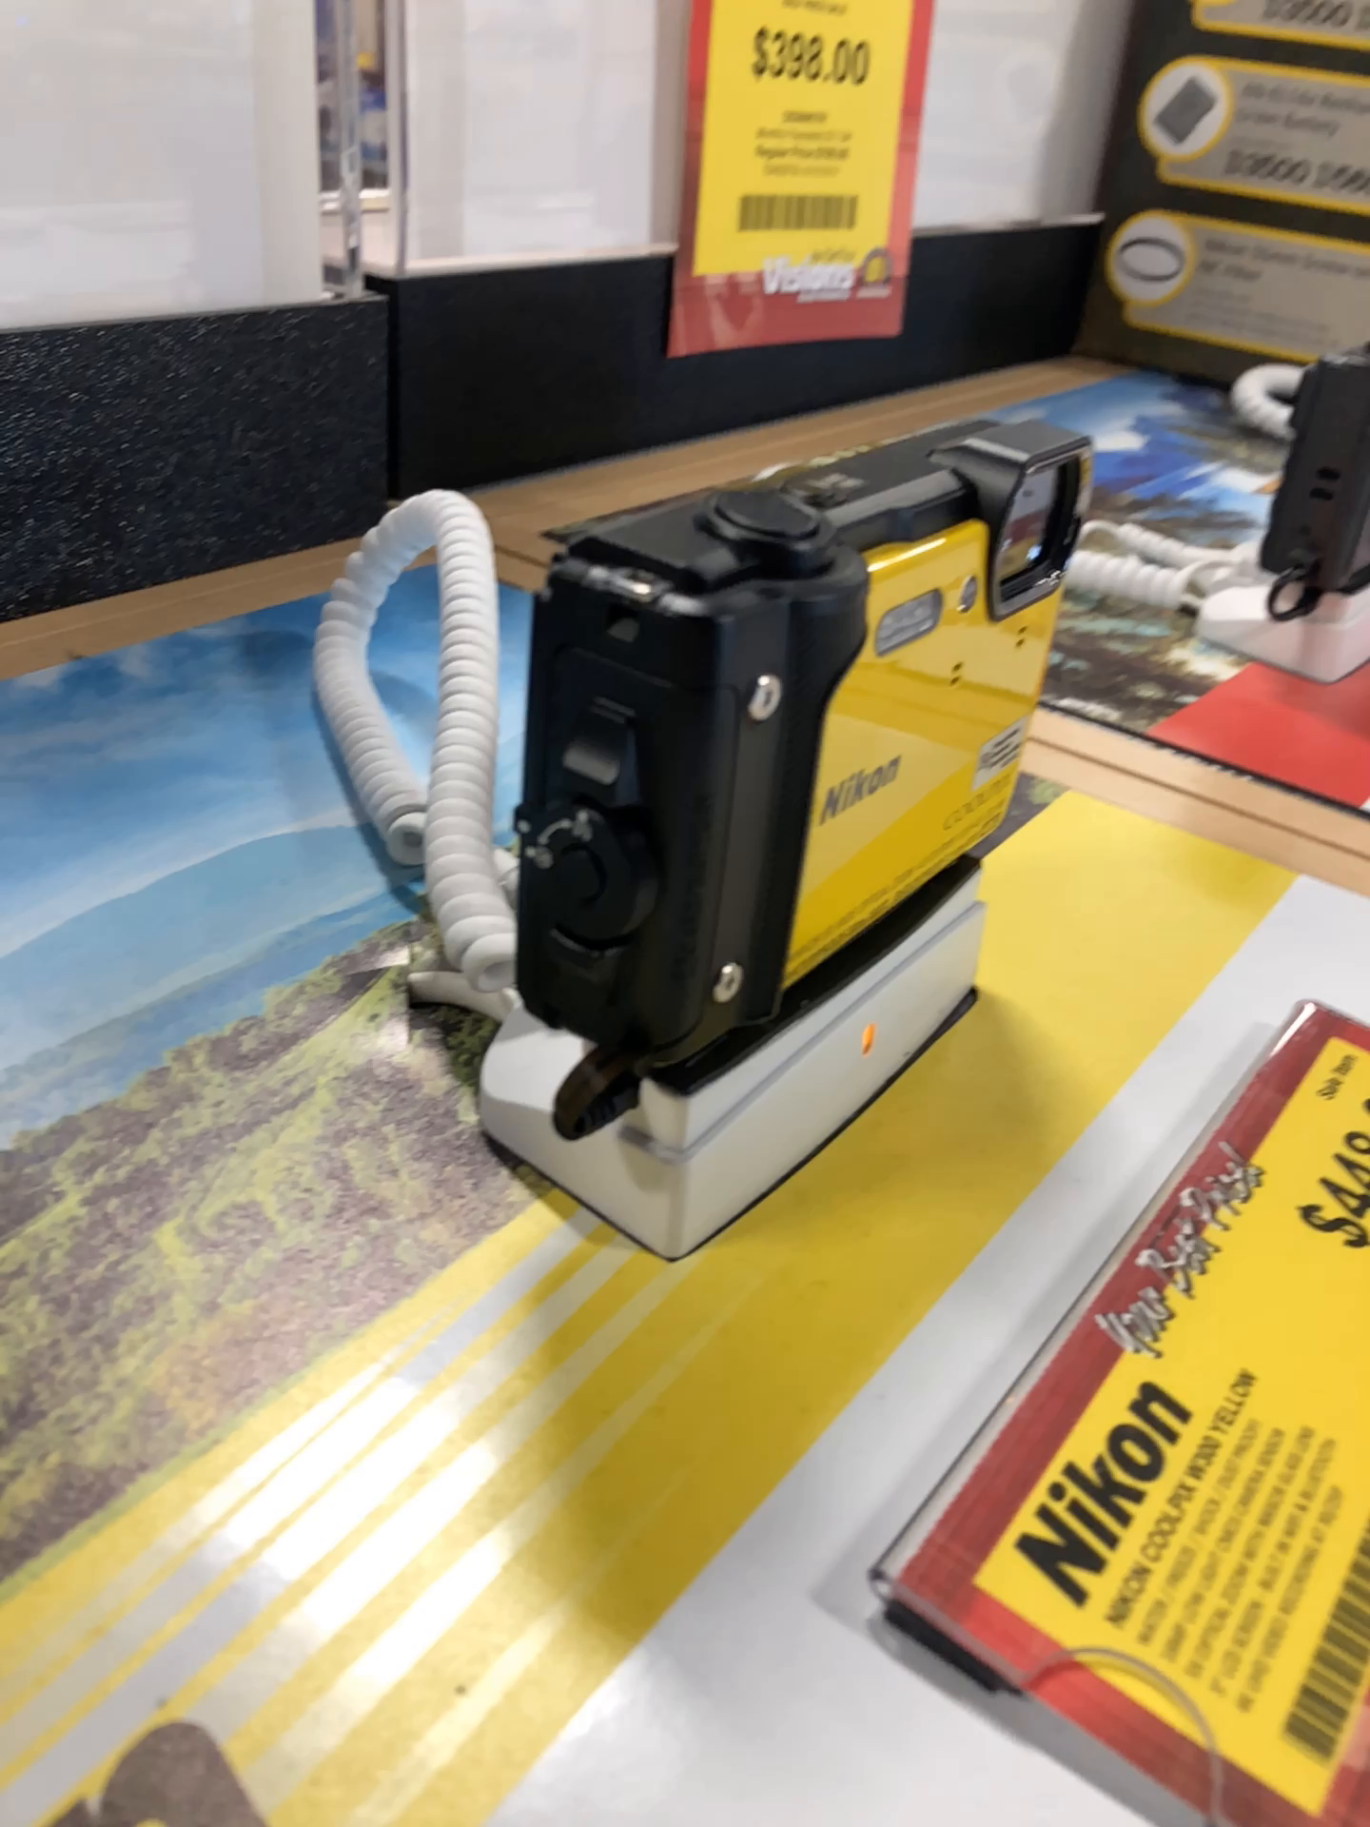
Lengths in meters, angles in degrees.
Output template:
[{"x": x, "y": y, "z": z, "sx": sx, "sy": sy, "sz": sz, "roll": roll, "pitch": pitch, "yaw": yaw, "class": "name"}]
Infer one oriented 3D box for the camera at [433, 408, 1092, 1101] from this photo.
[{"x": 0.015, "y": -0.029, "z": 0.211, "sx": 0.030, "sy": 0.060, "sz": 0.110, "roll": 24, "pitch": 35, "yaw": 28, "class": "camera"}]
